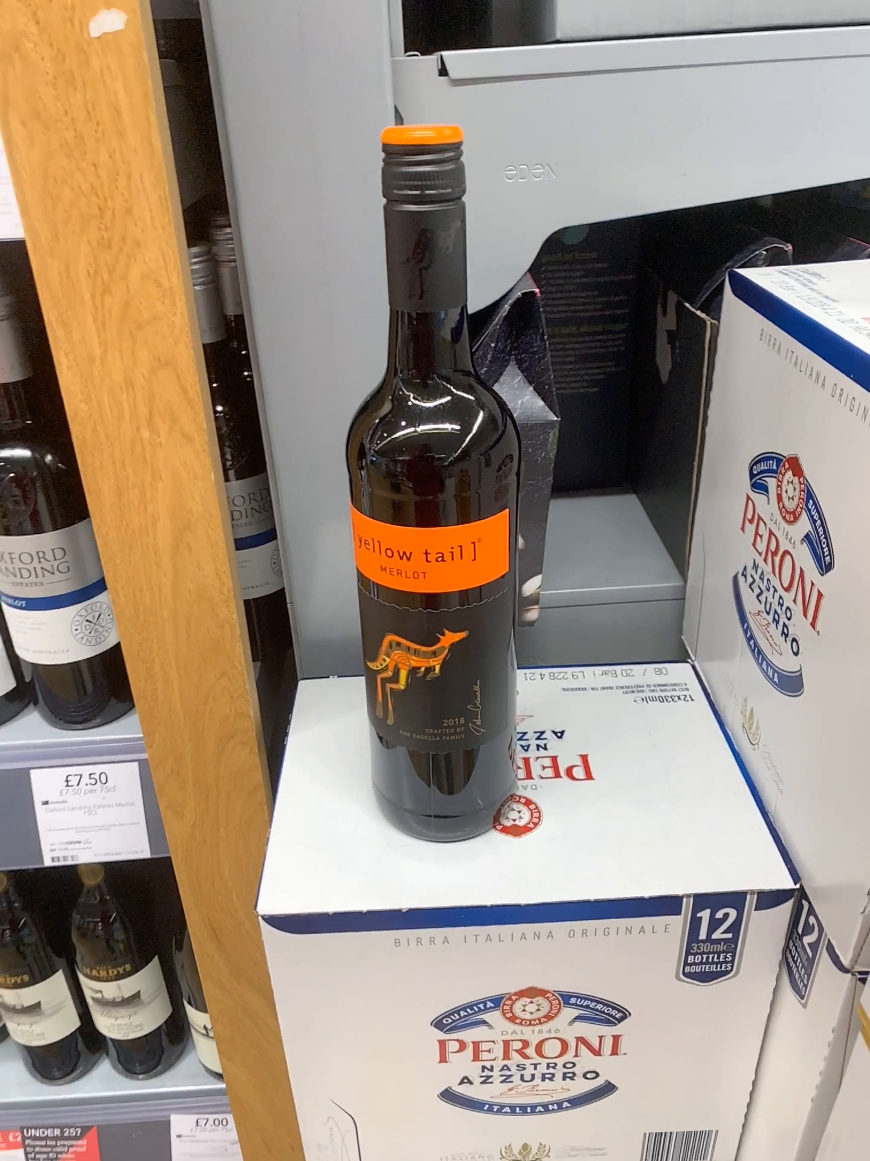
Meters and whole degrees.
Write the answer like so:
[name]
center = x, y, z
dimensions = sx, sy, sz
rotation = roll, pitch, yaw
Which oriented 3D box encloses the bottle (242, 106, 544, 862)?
[bottle]
center = -0.005, -0.027, 0.373
dimensions = 0.078, 0.297, 0.077
rotation = -2, 29, 1
